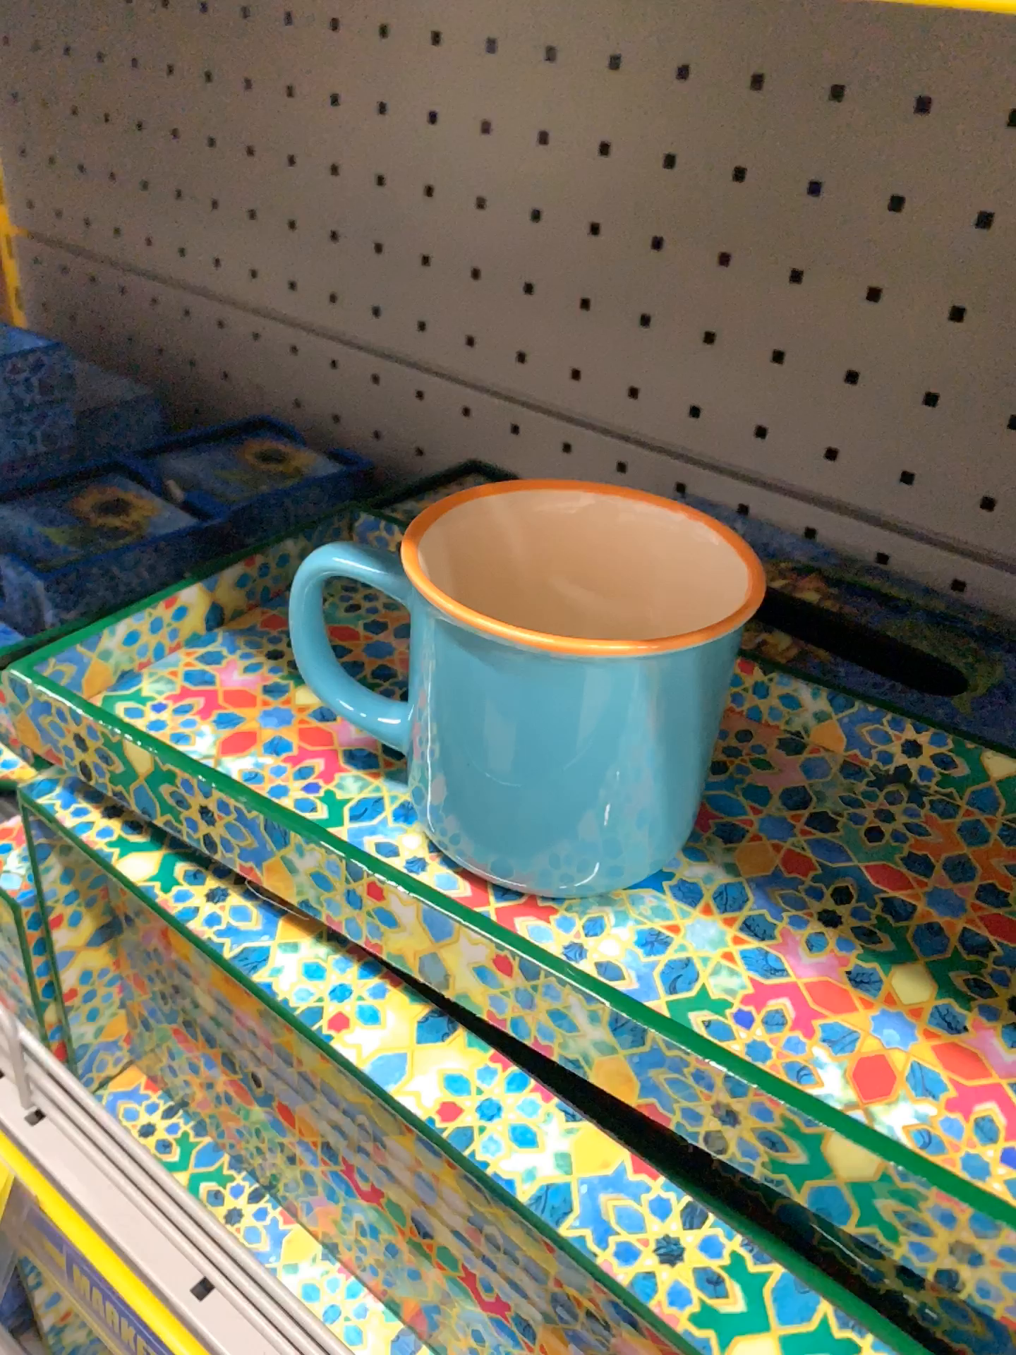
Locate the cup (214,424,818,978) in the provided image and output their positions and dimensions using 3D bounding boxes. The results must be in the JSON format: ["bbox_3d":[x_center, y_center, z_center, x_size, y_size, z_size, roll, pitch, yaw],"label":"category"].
[{"bbox_3d":[0.003,-0.002,0.277,0.120,0.080,0.090,18,35,19],"label":"cup"}]
